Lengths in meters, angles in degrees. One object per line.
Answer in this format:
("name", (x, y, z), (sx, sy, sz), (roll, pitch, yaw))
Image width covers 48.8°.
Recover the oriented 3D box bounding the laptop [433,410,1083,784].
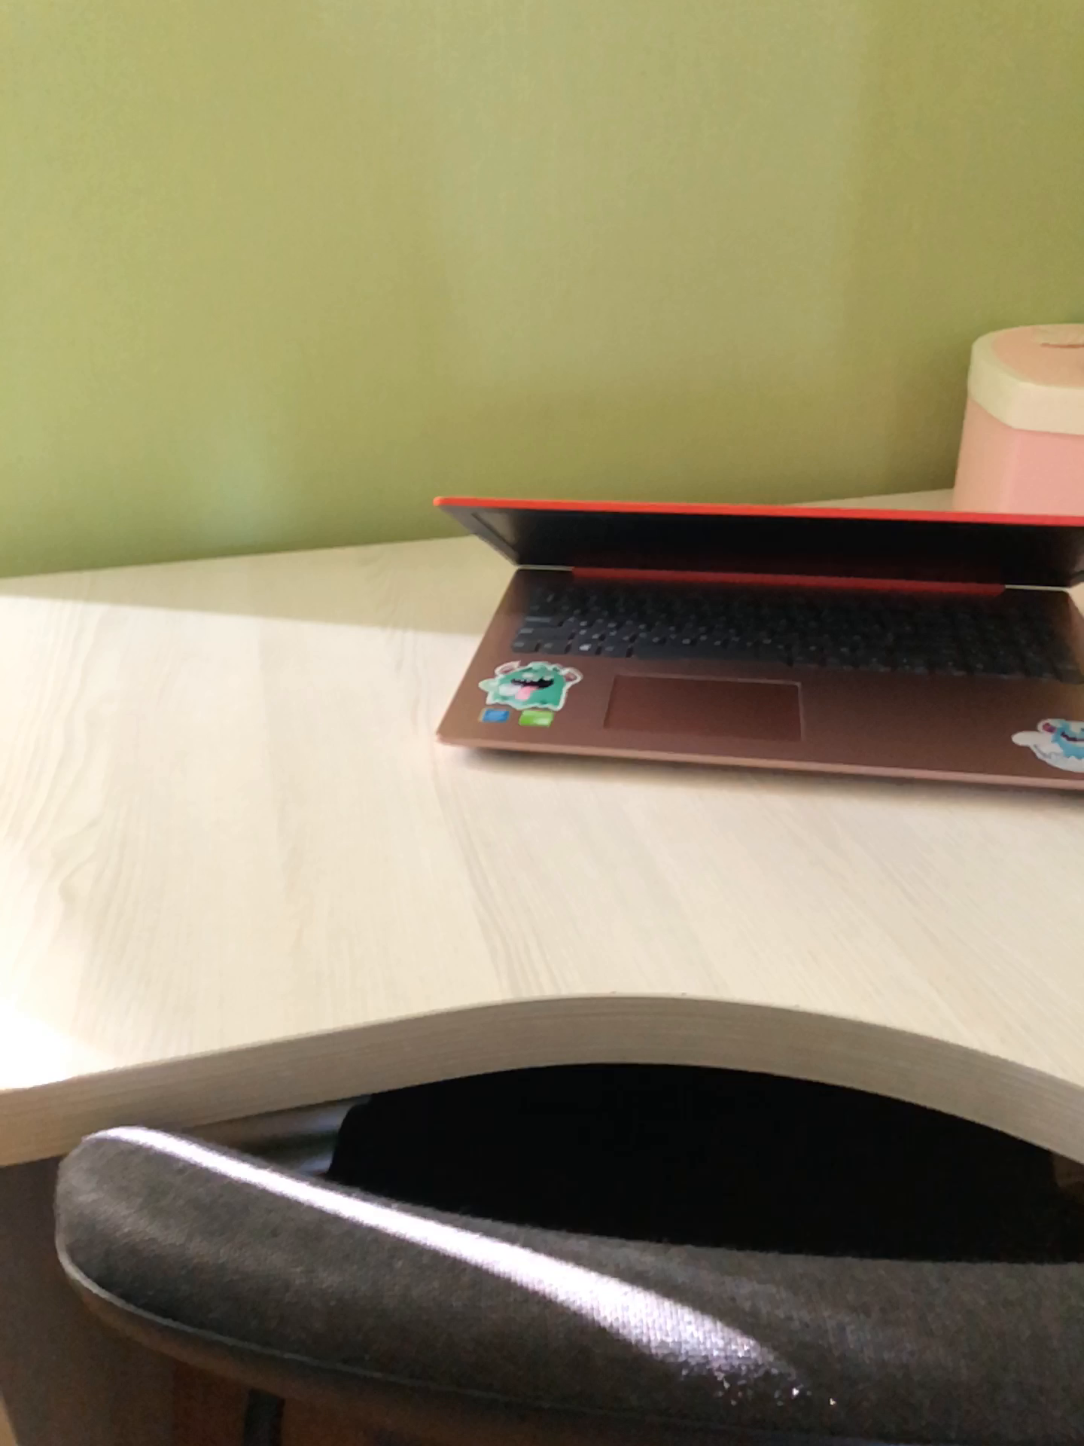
("laptop", (0.145, -0.088, 0.688), (0.366, 0.112, 0.233), (4, 29, 9))
